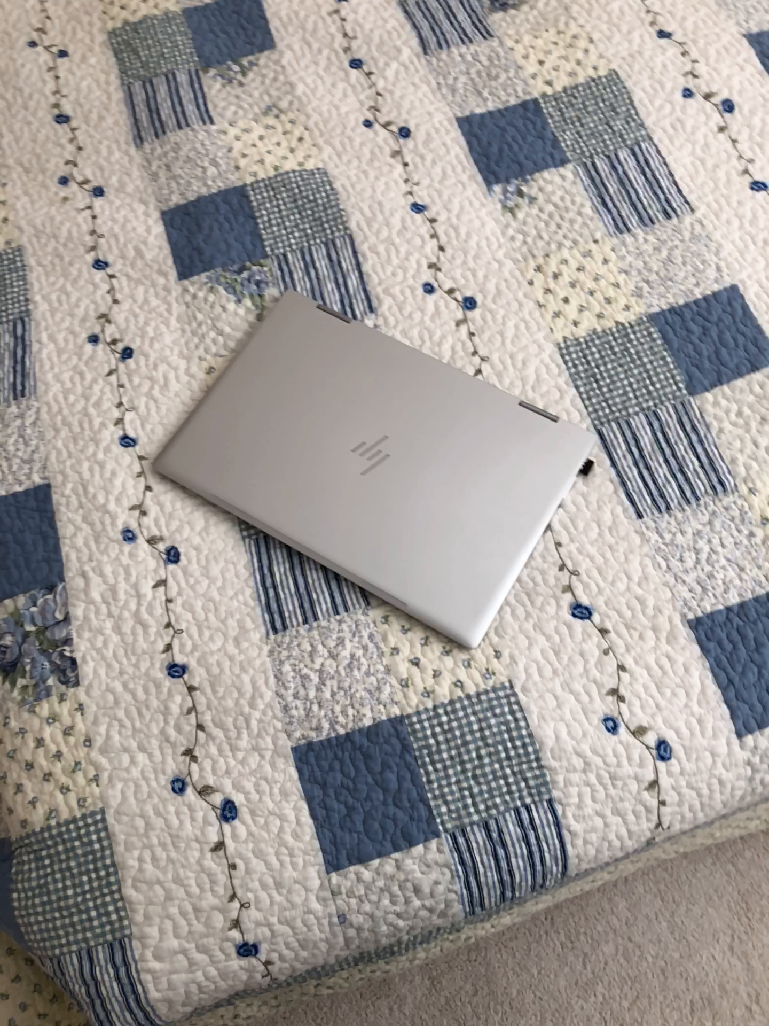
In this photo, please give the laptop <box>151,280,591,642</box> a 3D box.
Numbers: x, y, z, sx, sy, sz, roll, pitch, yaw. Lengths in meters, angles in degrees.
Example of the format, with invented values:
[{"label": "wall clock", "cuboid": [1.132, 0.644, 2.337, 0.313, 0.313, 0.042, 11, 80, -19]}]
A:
[{"label": "laptop", "cuboid": [-0.016, -0.072, 0.886, 0.386, 0.011, 0.256, 28, 72, 15]}]
